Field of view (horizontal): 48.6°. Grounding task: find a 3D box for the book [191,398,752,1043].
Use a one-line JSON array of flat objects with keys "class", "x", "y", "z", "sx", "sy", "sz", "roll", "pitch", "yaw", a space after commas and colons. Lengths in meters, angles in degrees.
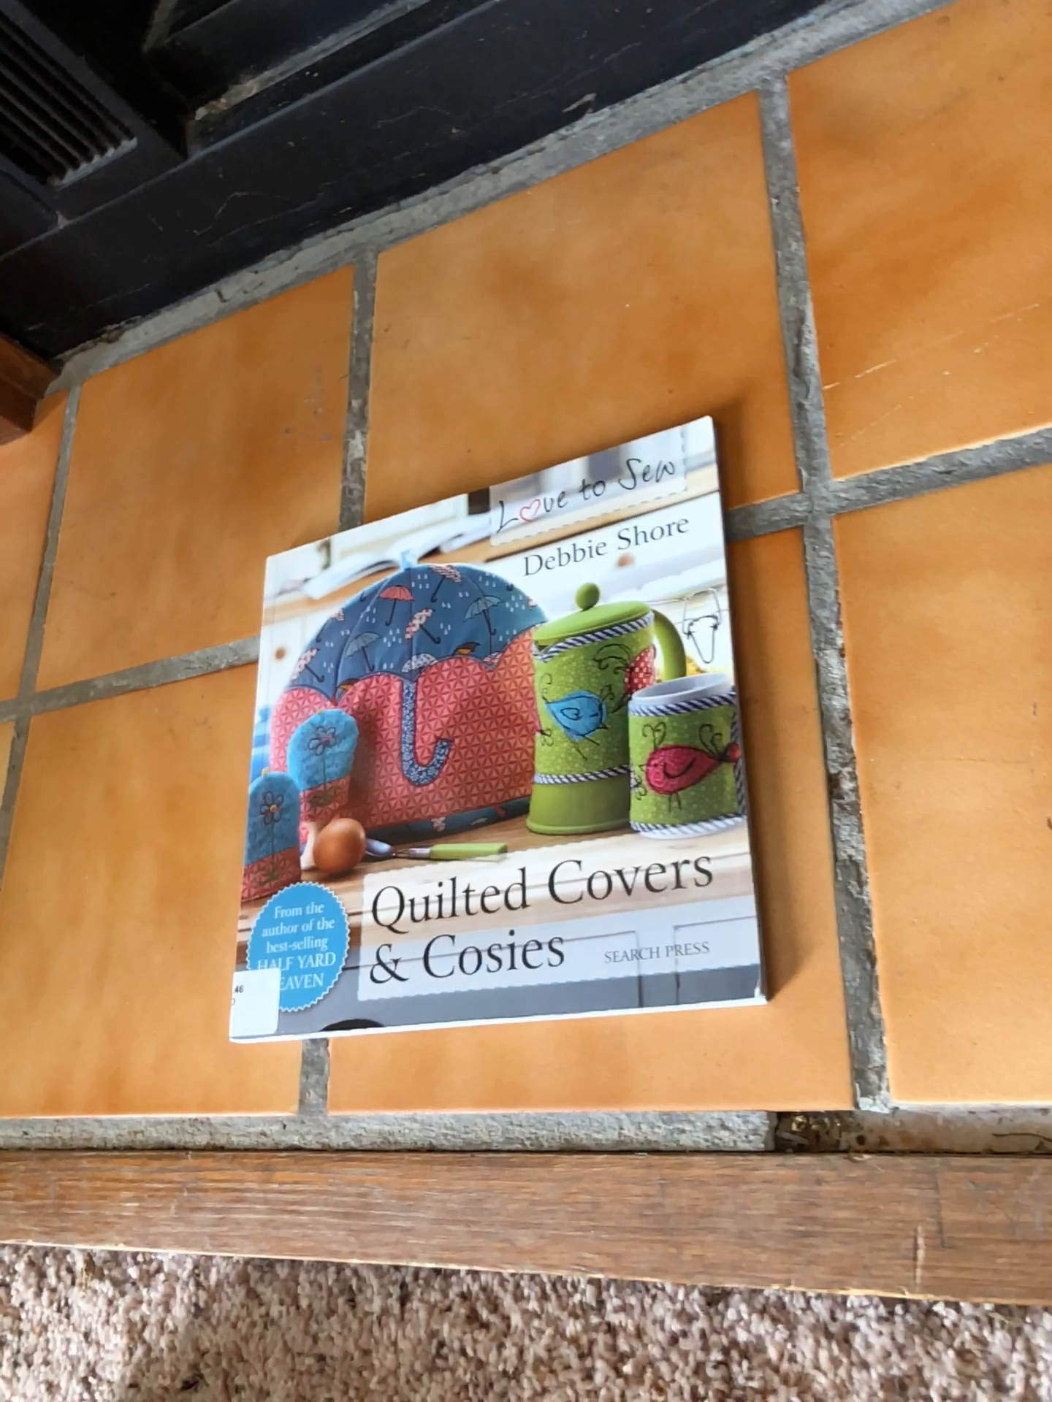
[{"class": "book", "x": -0.032, "y": 0.012, "z": 0.454, "sx": 0.225, "sy": 0.015, "sz": 0.219, "roll": -13, "pitch": 66, "yaw": 27}]
